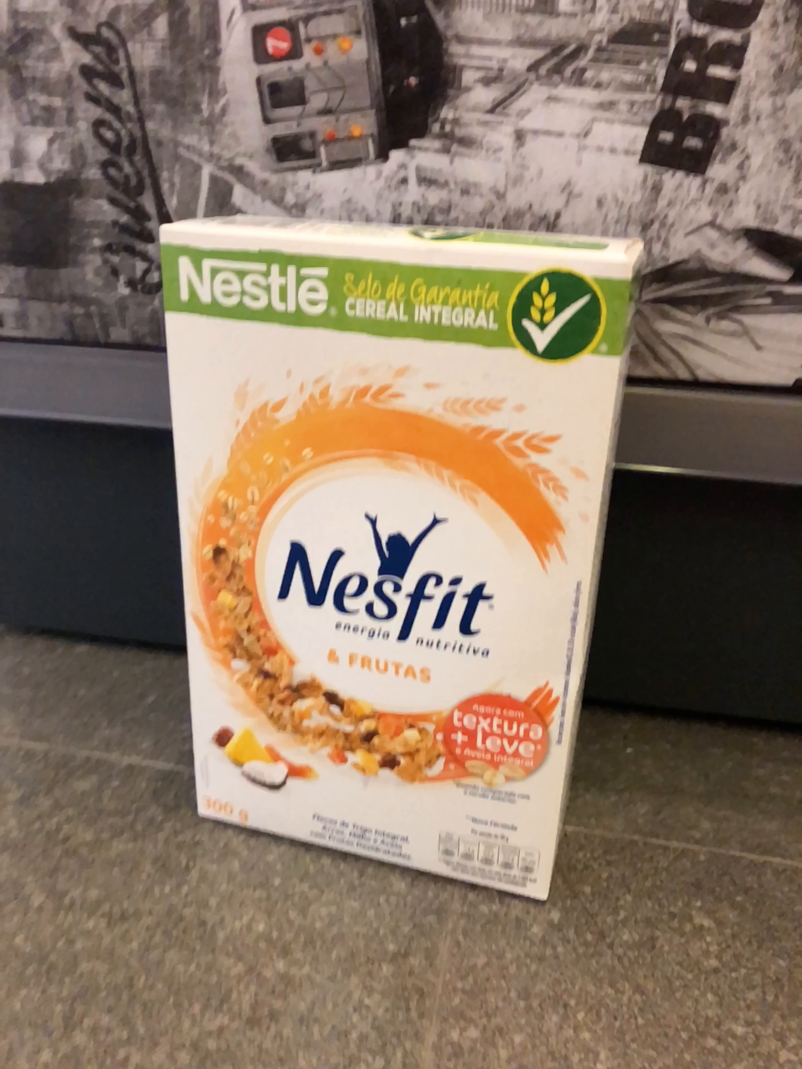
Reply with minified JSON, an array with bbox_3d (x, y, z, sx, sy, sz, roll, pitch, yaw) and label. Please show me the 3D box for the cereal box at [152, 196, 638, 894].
[{"bbox_3d":[-0.001,0.004,0.350,0.150,0.248,0.070,8,25,15],"label":"cereal box"}]
